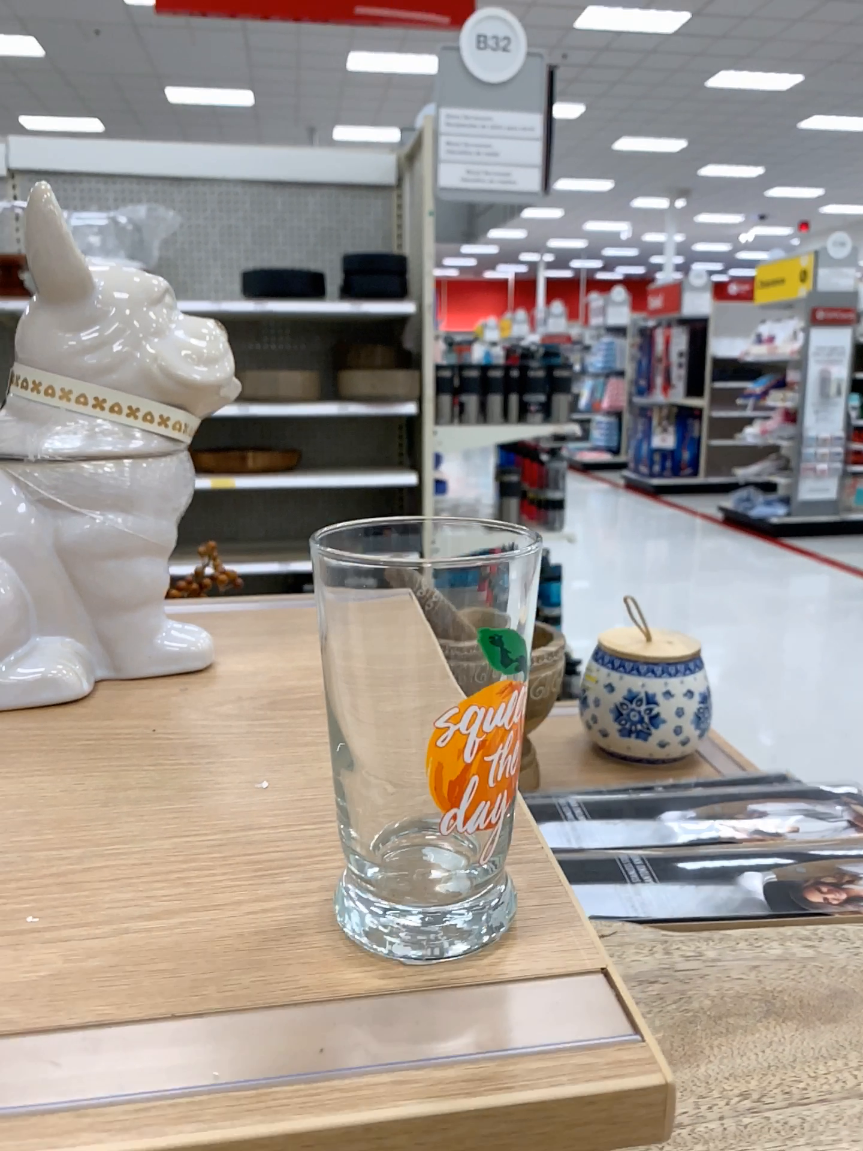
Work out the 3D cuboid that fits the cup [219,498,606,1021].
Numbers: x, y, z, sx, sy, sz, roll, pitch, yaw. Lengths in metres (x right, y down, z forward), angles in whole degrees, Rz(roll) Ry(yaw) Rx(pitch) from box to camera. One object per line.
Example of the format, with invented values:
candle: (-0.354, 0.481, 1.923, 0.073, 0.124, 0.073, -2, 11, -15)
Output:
cup: (-0.005, 0.044, 0.274, 0.080, 0.120, 0.080, 0, 13, 0)
